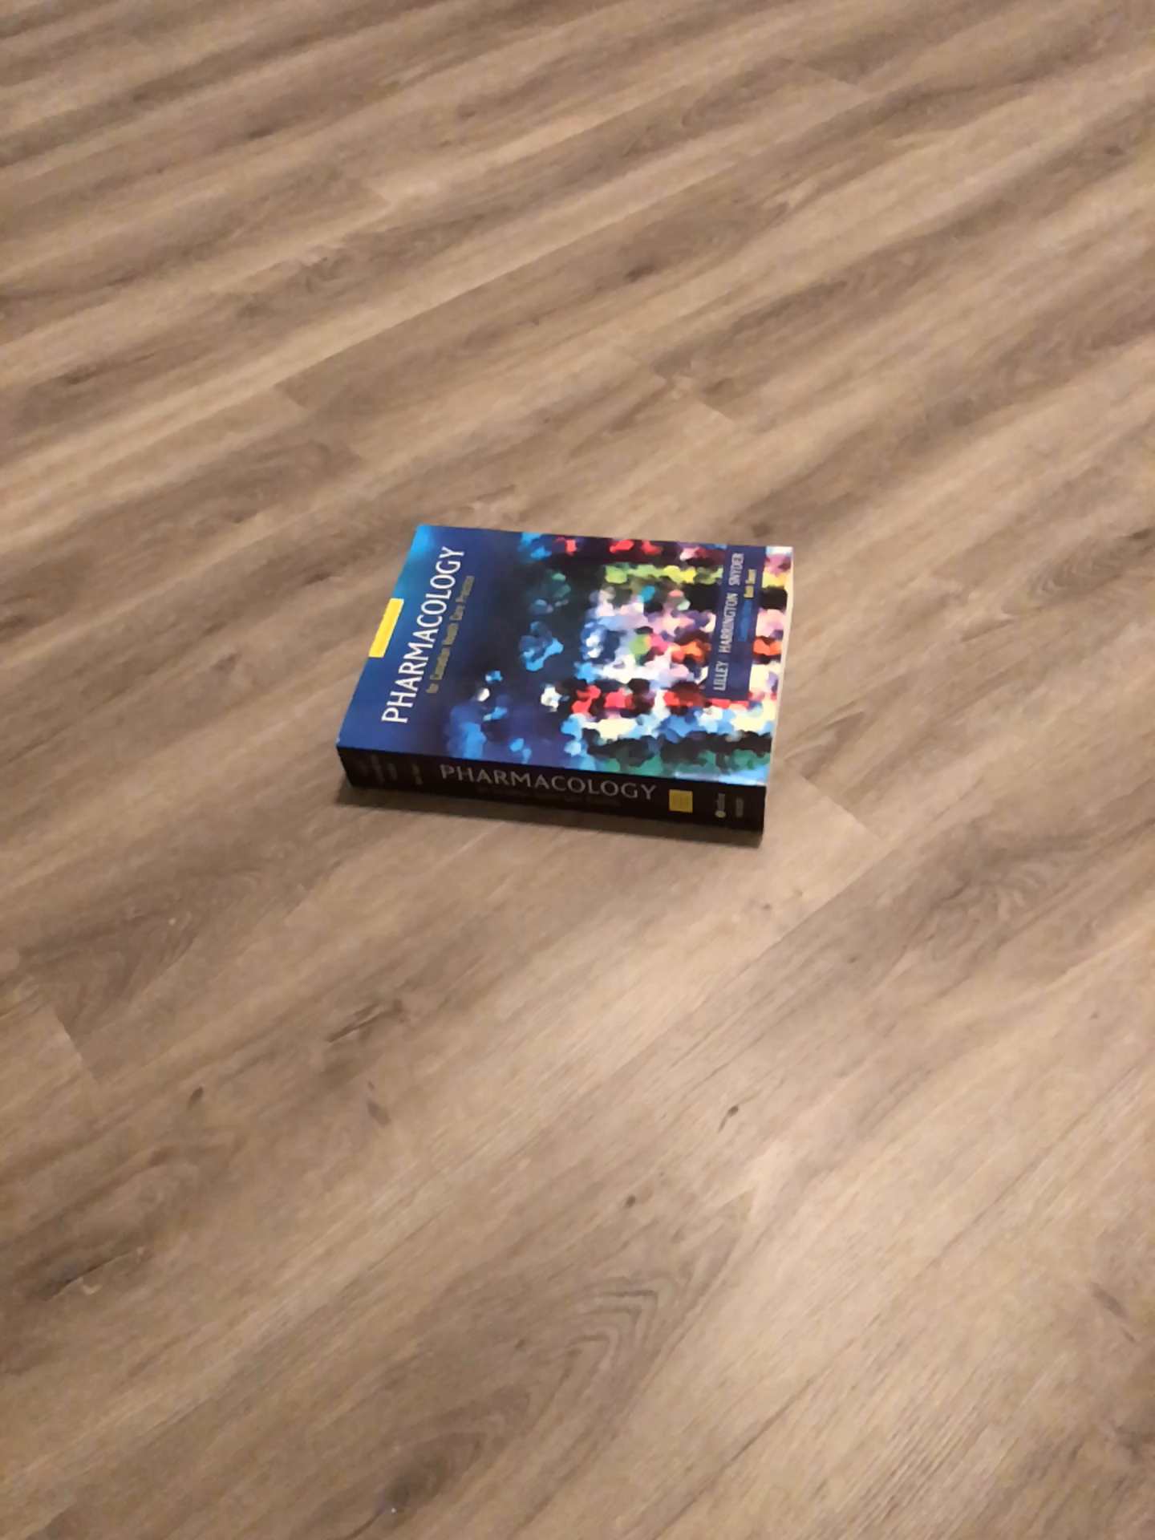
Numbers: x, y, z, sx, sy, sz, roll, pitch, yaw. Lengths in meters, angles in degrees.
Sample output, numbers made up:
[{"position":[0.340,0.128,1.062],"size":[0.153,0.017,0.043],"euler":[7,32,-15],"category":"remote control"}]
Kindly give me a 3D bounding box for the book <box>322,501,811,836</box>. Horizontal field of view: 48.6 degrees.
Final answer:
[{"position":[0.004,-0.076,0.830],"size":[0.277,0.046,0.229],"euler":[5,51,9],"category":"book"}]
